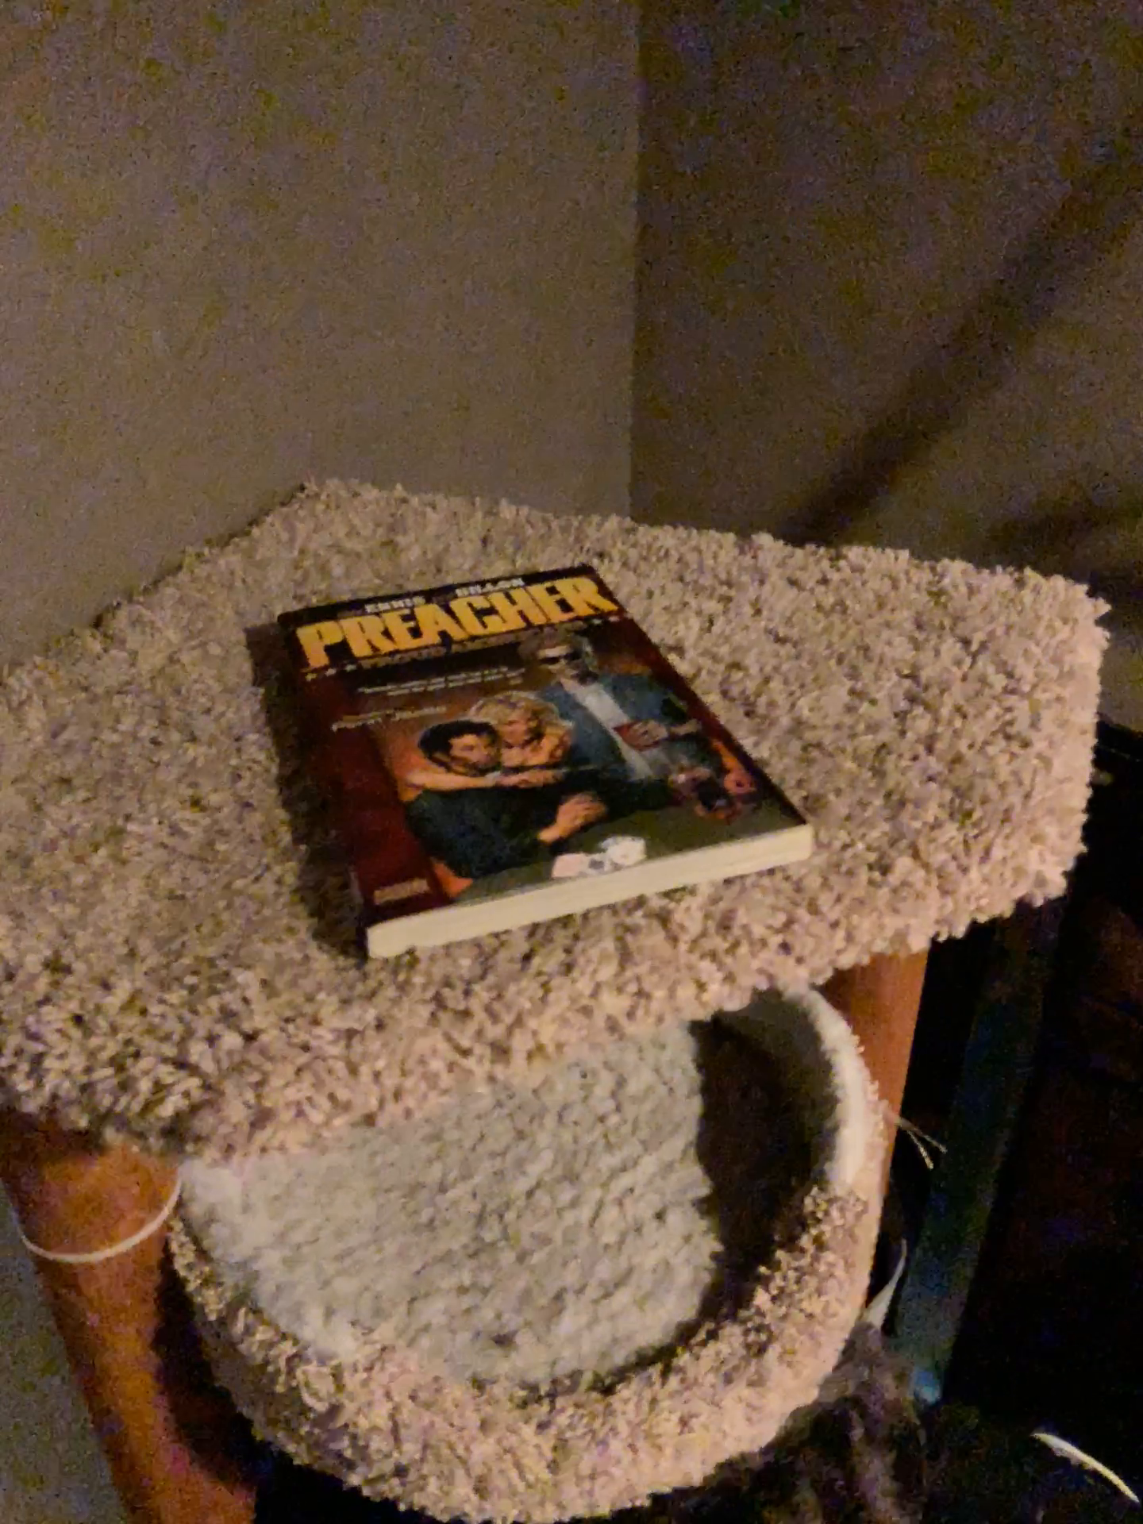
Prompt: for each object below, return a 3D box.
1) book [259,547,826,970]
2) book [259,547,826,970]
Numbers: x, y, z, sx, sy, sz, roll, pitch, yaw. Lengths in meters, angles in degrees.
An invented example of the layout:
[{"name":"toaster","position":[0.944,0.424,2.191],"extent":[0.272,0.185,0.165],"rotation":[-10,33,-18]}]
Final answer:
[{"name":"book","position":[-0.031,-0.022,0.555],"extent":[0.170,0.020,0.270],"rotation":[-11,34,-16]},{"name":"book","position":[-0.031,-0.022,0.555],"extent":[0.170,0.020,0.270],"rotation":[-11,34,-16]}]
